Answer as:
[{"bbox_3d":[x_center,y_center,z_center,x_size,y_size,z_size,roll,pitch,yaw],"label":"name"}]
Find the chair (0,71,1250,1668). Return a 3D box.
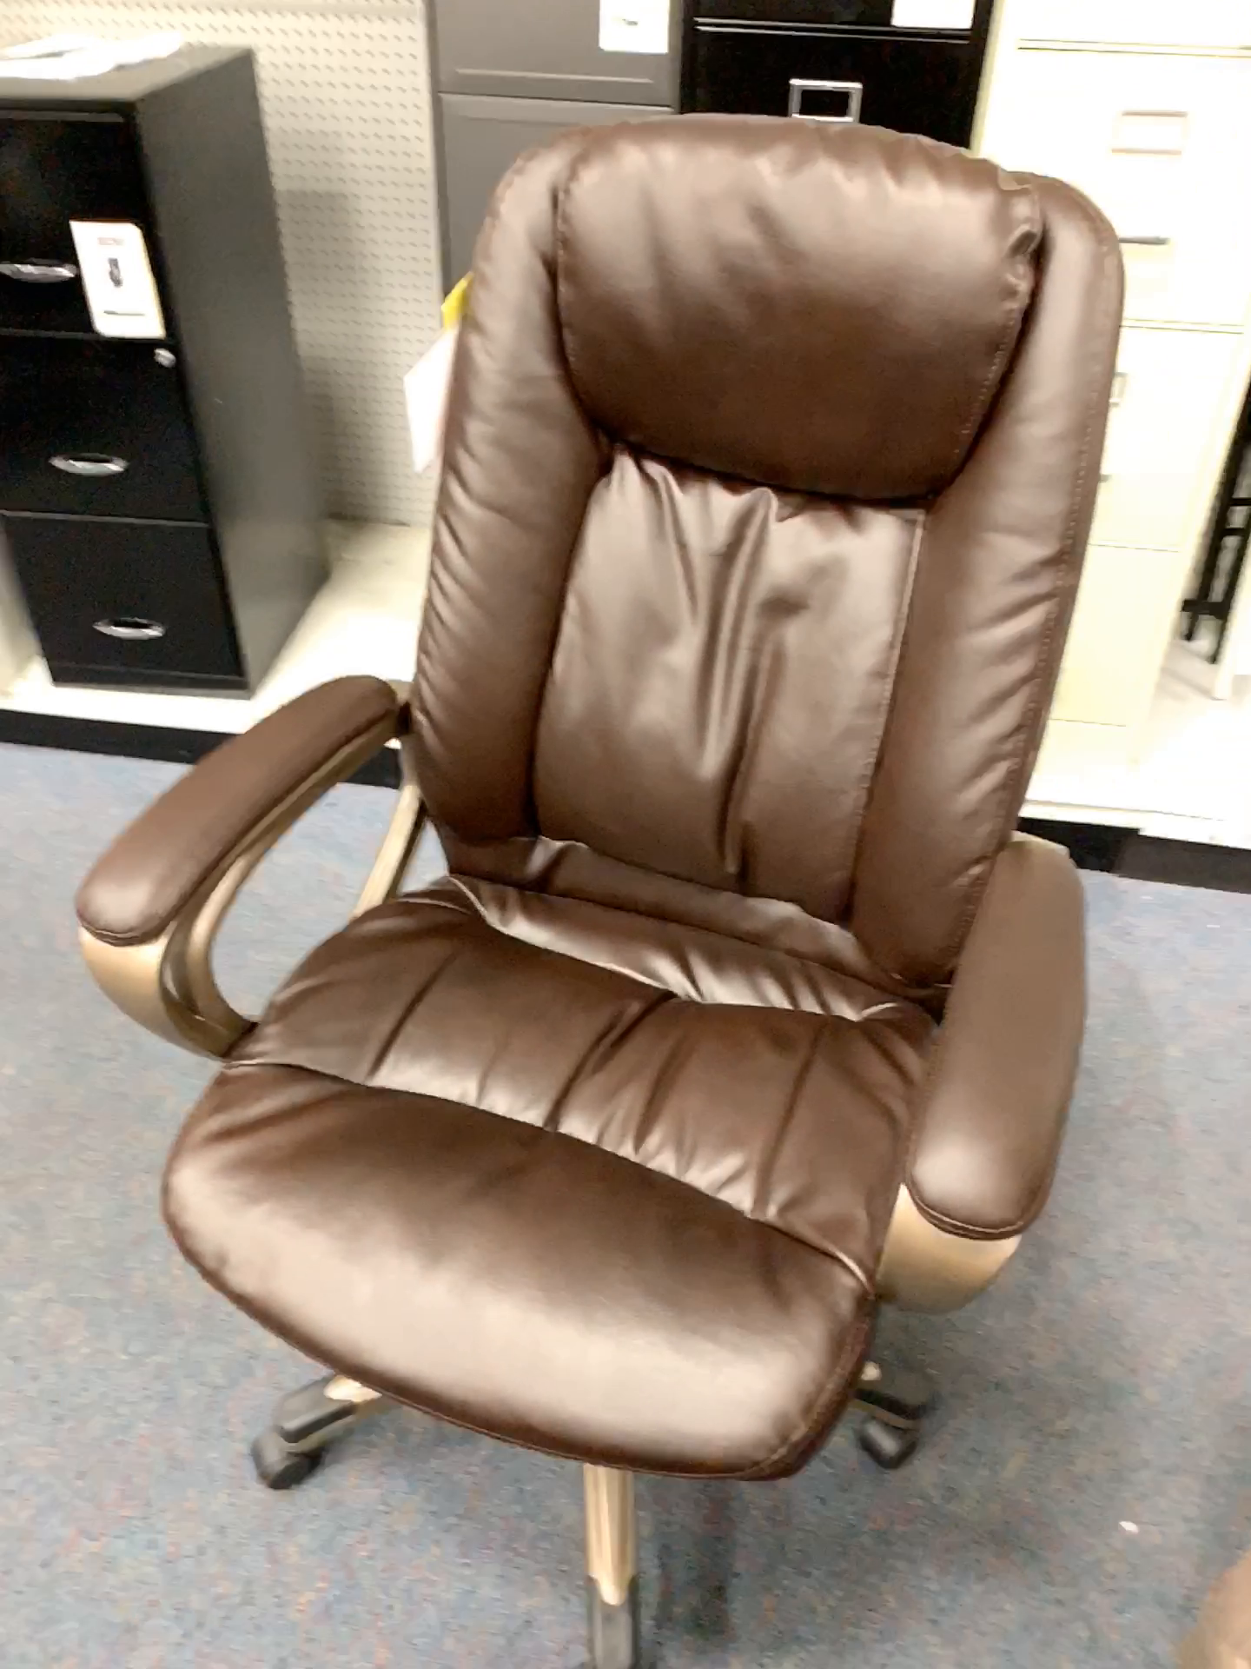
[{"bbox_3d":[0.017,0.080,1.075,0.725,1.112,0.815,17,41,19],"label":"chair"}]
